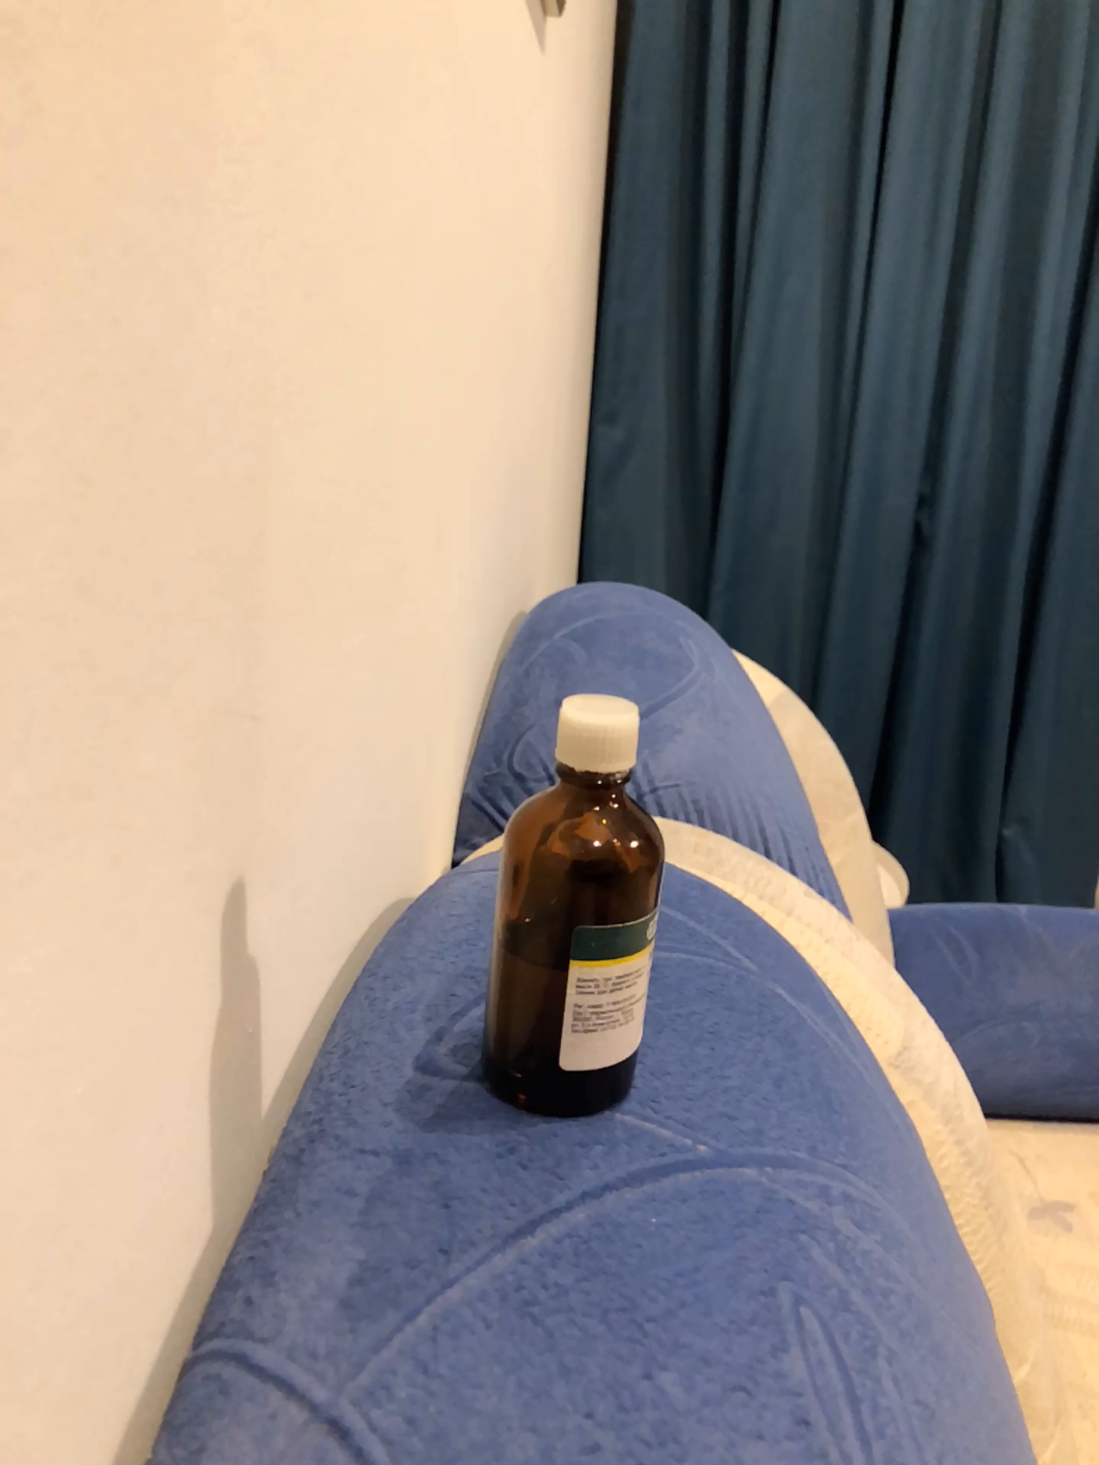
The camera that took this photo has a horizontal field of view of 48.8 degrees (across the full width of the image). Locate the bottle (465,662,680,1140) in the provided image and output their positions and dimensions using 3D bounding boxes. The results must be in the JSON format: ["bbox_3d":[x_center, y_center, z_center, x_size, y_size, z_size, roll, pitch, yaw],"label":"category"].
[{"bbox_3d":[0.004,0.039,0.287,0.040,0.100,0.045,4,17,0],"label":"bottle"}]
